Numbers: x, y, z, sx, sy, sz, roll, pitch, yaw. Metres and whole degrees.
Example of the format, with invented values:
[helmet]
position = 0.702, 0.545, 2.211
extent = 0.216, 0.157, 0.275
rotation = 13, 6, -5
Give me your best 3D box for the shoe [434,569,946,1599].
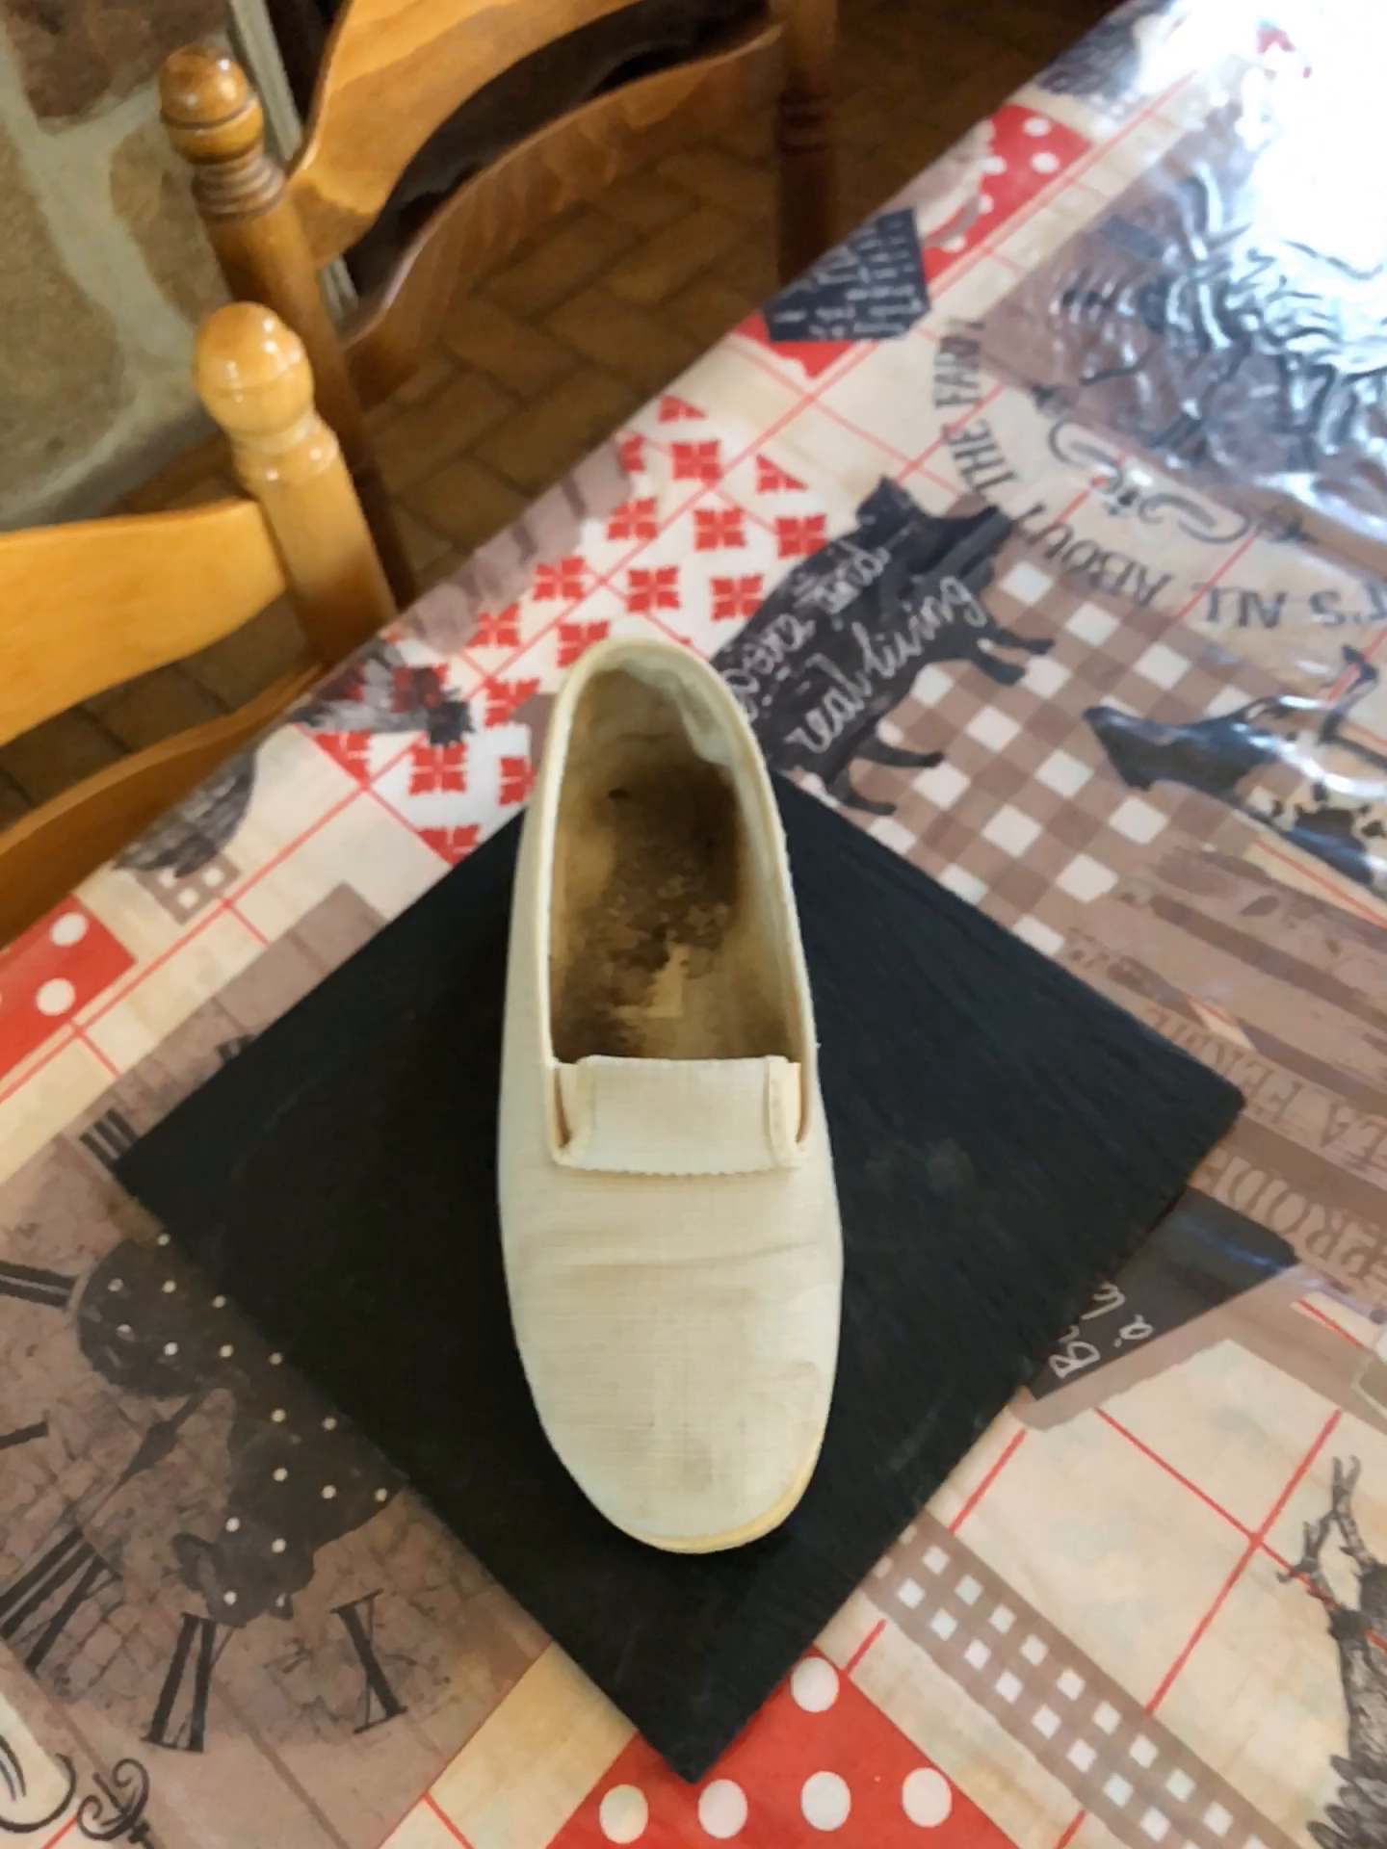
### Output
[shoe]
position = -0.009, 0.031, 0.406
extent = 0.100, 0.080, 0.251
rotation = -7, 58, 0
